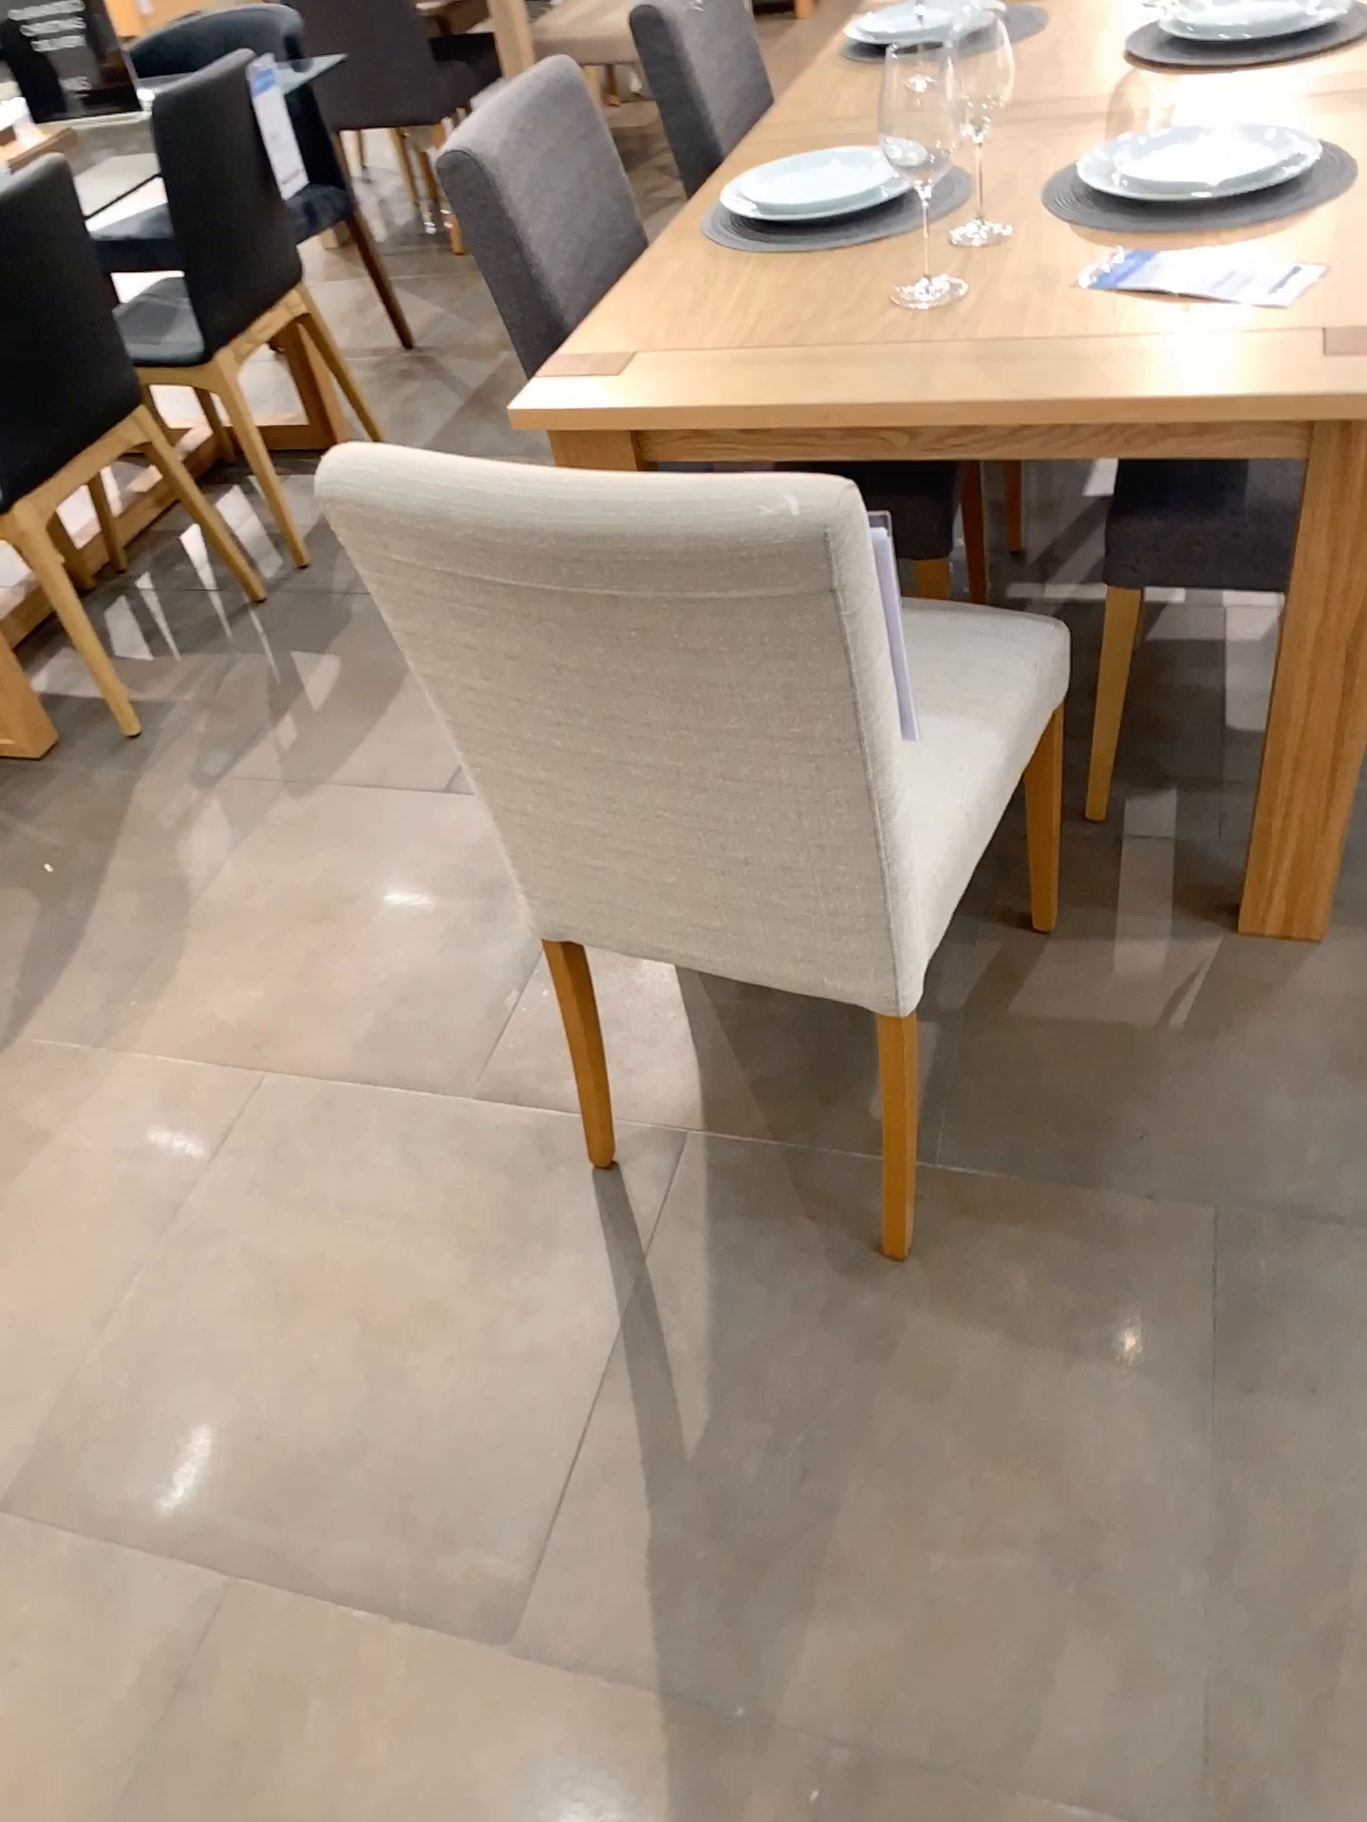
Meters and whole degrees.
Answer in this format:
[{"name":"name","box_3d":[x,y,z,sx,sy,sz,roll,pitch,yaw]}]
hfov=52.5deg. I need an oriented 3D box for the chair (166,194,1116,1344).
[{"name":"chair","box_3d":[0.060,-0.153,1.380,0.538,0.838,0.647,12,46,25]}]
